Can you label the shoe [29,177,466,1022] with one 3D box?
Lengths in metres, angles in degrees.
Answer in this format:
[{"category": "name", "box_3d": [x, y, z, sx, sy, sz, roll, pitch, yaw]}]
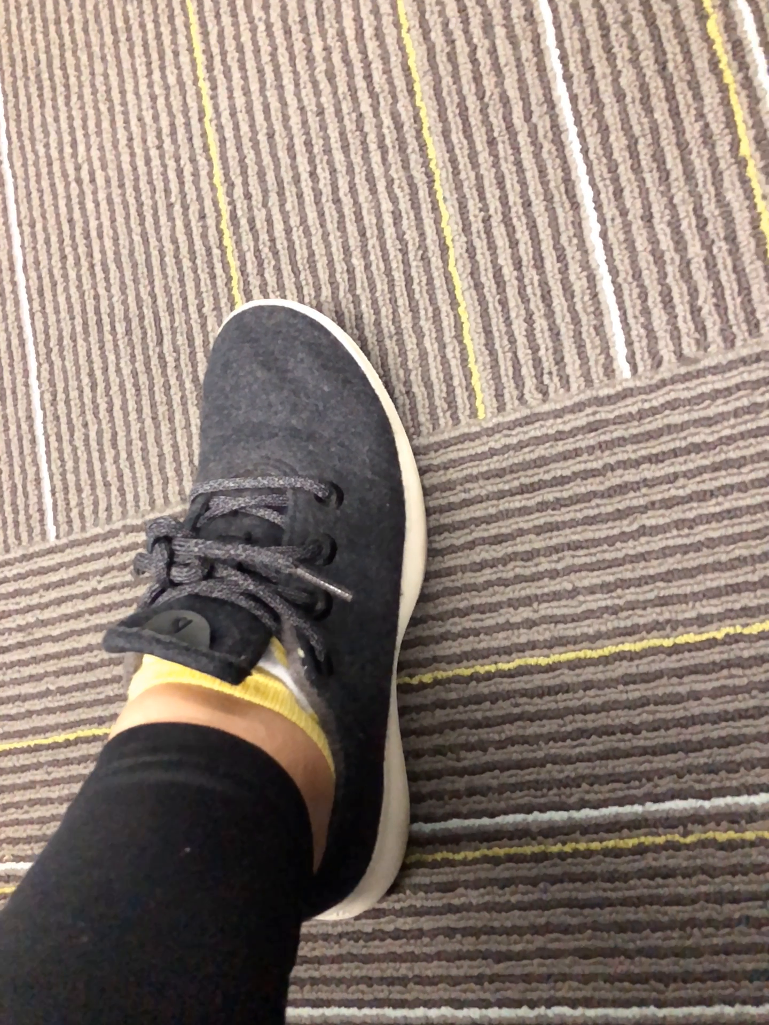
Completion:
[{"category": "shoe", "box_3d": [-0.052, 0.030, 0.322, 0.120, 0.080, 0.260, -8, 83, 22]}]
